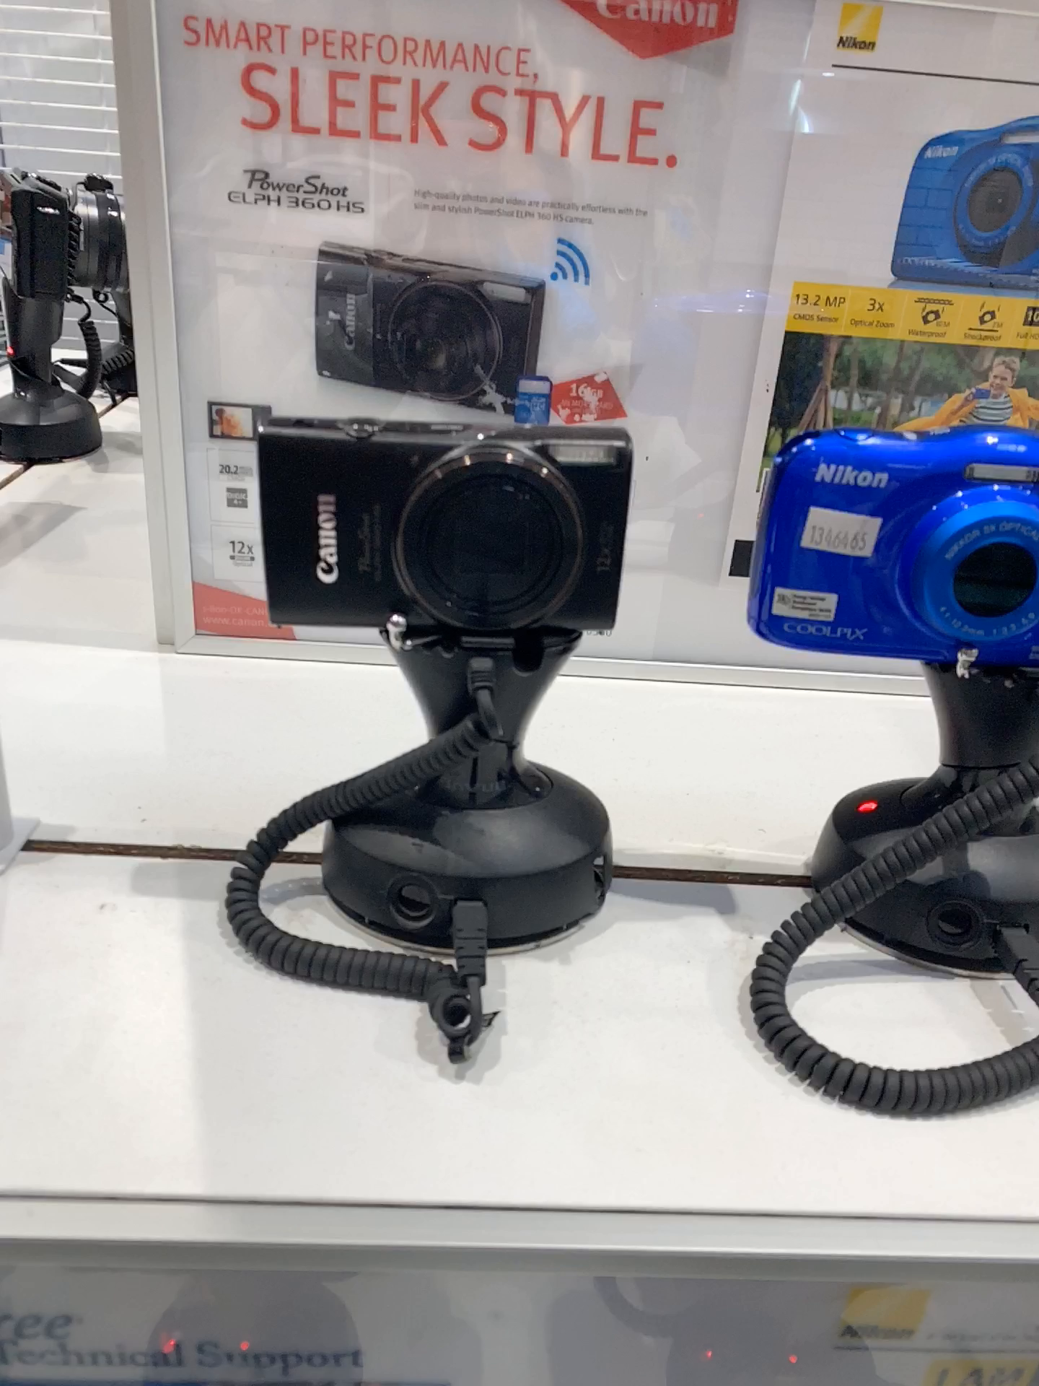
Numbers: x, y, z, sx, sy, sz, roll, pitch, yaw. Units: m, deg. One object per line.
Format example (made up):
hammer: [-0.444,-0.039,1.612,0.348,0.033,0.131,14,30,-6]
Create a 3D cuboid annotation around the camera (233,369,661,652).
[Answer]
camera: [-0.020,-0.048,0.279,0.100,0.060,0.040,1,26,-8]
